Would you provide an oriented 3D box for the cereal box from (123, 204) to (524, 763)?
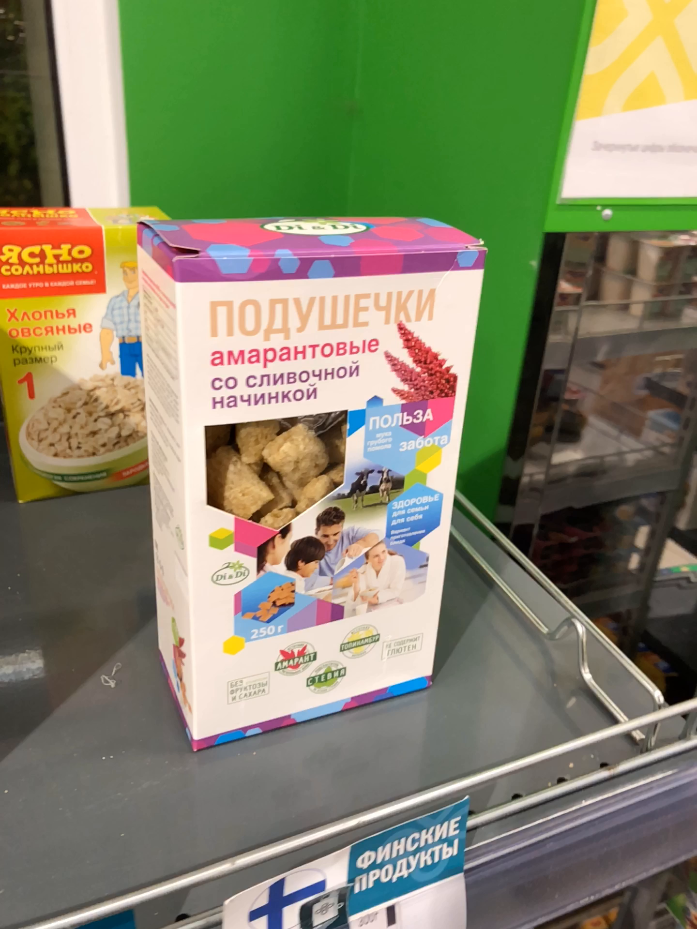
[{"bbox_3d":[-0.019,0.006,0.358,0.140,0.229,0.080,-8,29,-23],"label":"cereal box"}]
